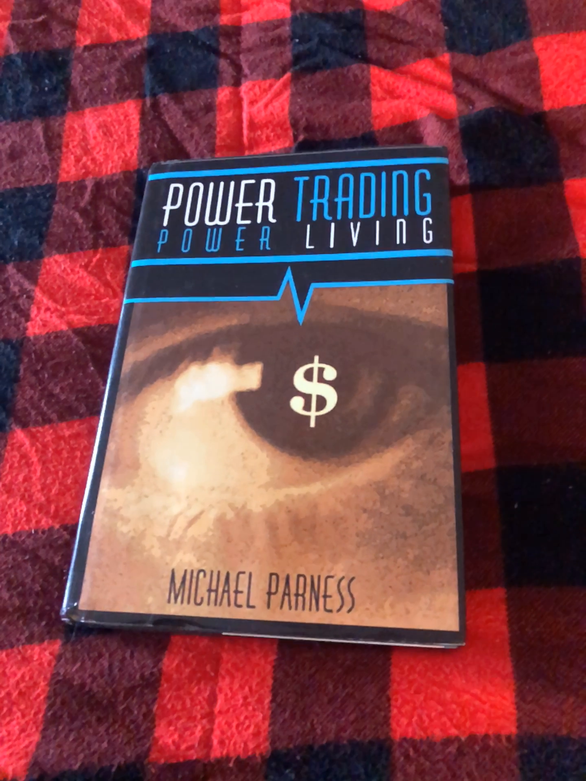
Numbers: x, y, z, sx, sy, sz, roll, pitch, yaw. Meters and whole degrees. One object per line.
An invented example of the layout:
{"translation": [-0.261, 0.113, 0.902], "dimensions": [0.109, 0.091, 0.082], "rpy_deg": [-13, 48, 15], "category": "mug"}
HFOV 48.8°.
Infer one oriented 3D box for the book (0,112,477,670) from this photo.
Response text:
{"translation": [-0.014, -0.012, 0.288], "dimensions": [0.170, 0.040, 0.241], "rpy_deg": [0, 68, 8], "category": "book"}
